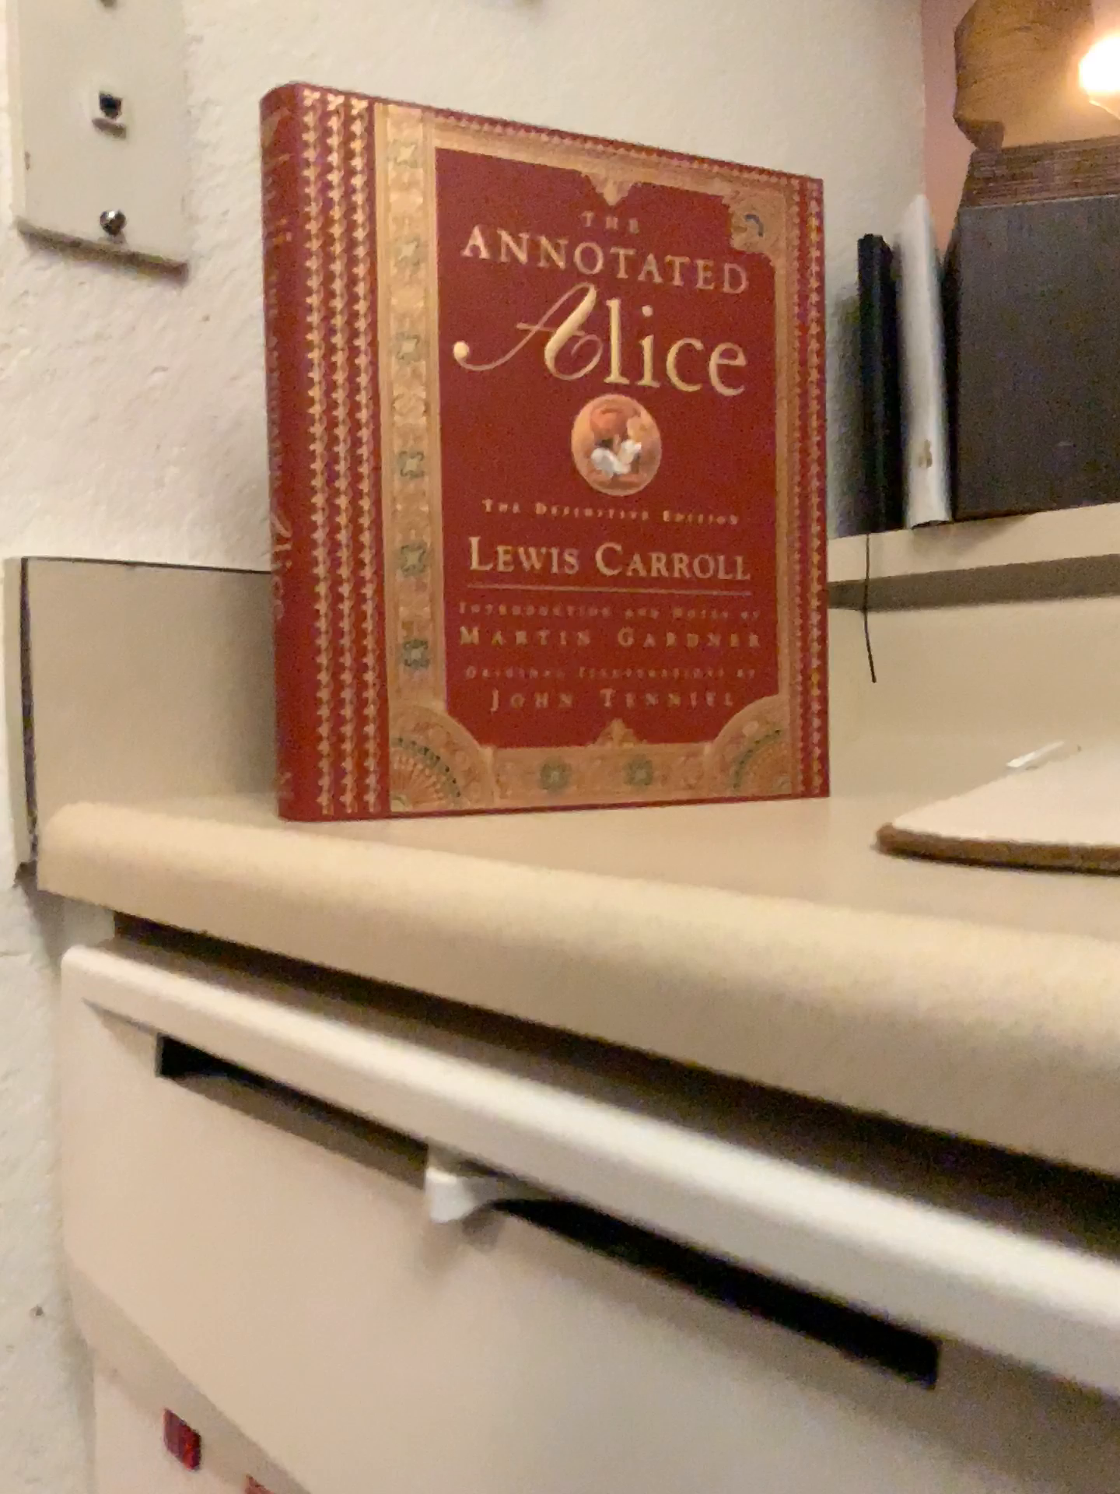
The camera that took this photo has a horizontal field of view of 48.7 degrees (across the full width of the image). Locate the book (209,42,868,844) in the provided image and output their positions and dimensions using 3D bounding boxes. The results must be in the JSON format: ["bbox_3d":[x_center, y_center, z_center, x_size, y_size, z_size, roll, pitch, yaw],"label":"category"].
[{"bbox_3d":[-0.011,-0.105,0.524,0.230,0.260,0.150,-3,3,-27],"label":"book"}]
